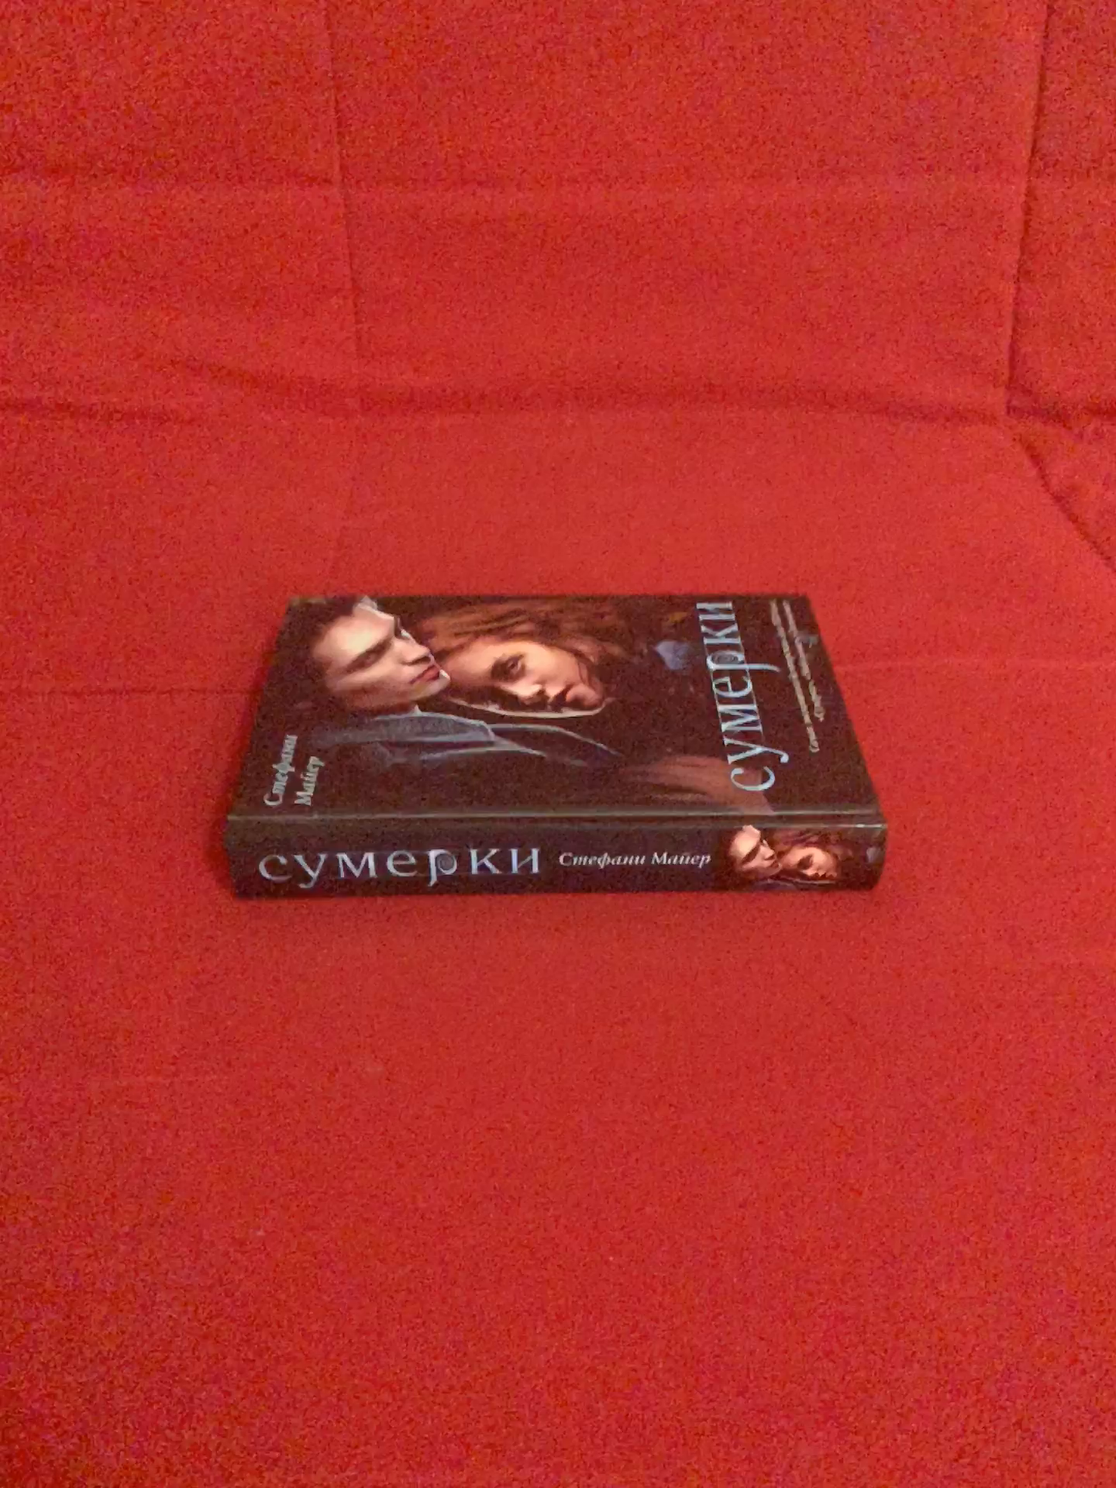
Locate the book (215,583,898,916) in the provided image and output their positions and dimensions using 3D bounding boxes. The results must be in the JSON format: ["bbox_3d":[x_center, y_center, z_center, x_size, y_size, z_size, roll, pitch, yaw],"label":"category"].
[{"bbox_3d":[-0.001,-0.003,0.409,0.209,0.036,0.135,0,43,-1],"label":"book"}]
